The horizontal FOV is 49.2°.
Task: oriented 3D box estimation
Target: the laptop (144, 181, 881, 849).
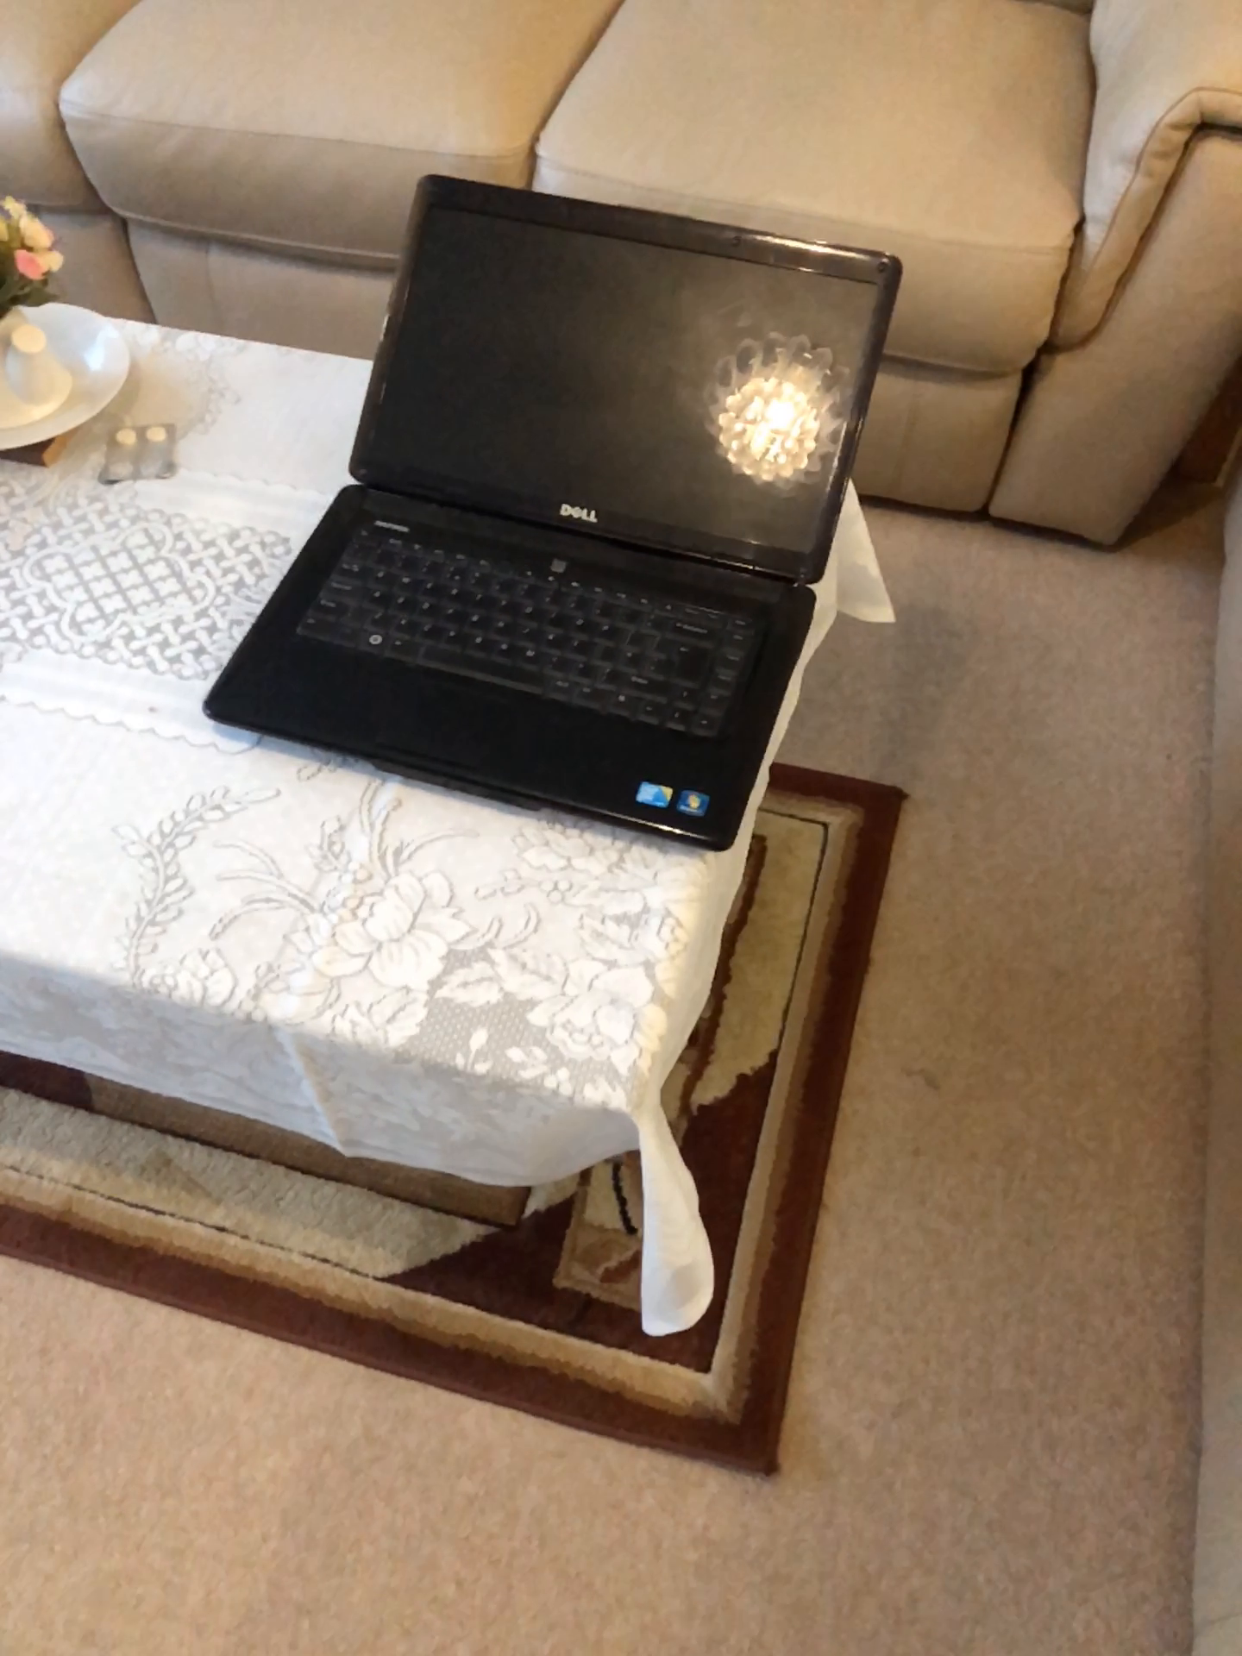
[{"bbox_3d":[-0.050,-0.237,0.934,0.364,0.122,0.420,14,59,10],"label":"laptop"}]
